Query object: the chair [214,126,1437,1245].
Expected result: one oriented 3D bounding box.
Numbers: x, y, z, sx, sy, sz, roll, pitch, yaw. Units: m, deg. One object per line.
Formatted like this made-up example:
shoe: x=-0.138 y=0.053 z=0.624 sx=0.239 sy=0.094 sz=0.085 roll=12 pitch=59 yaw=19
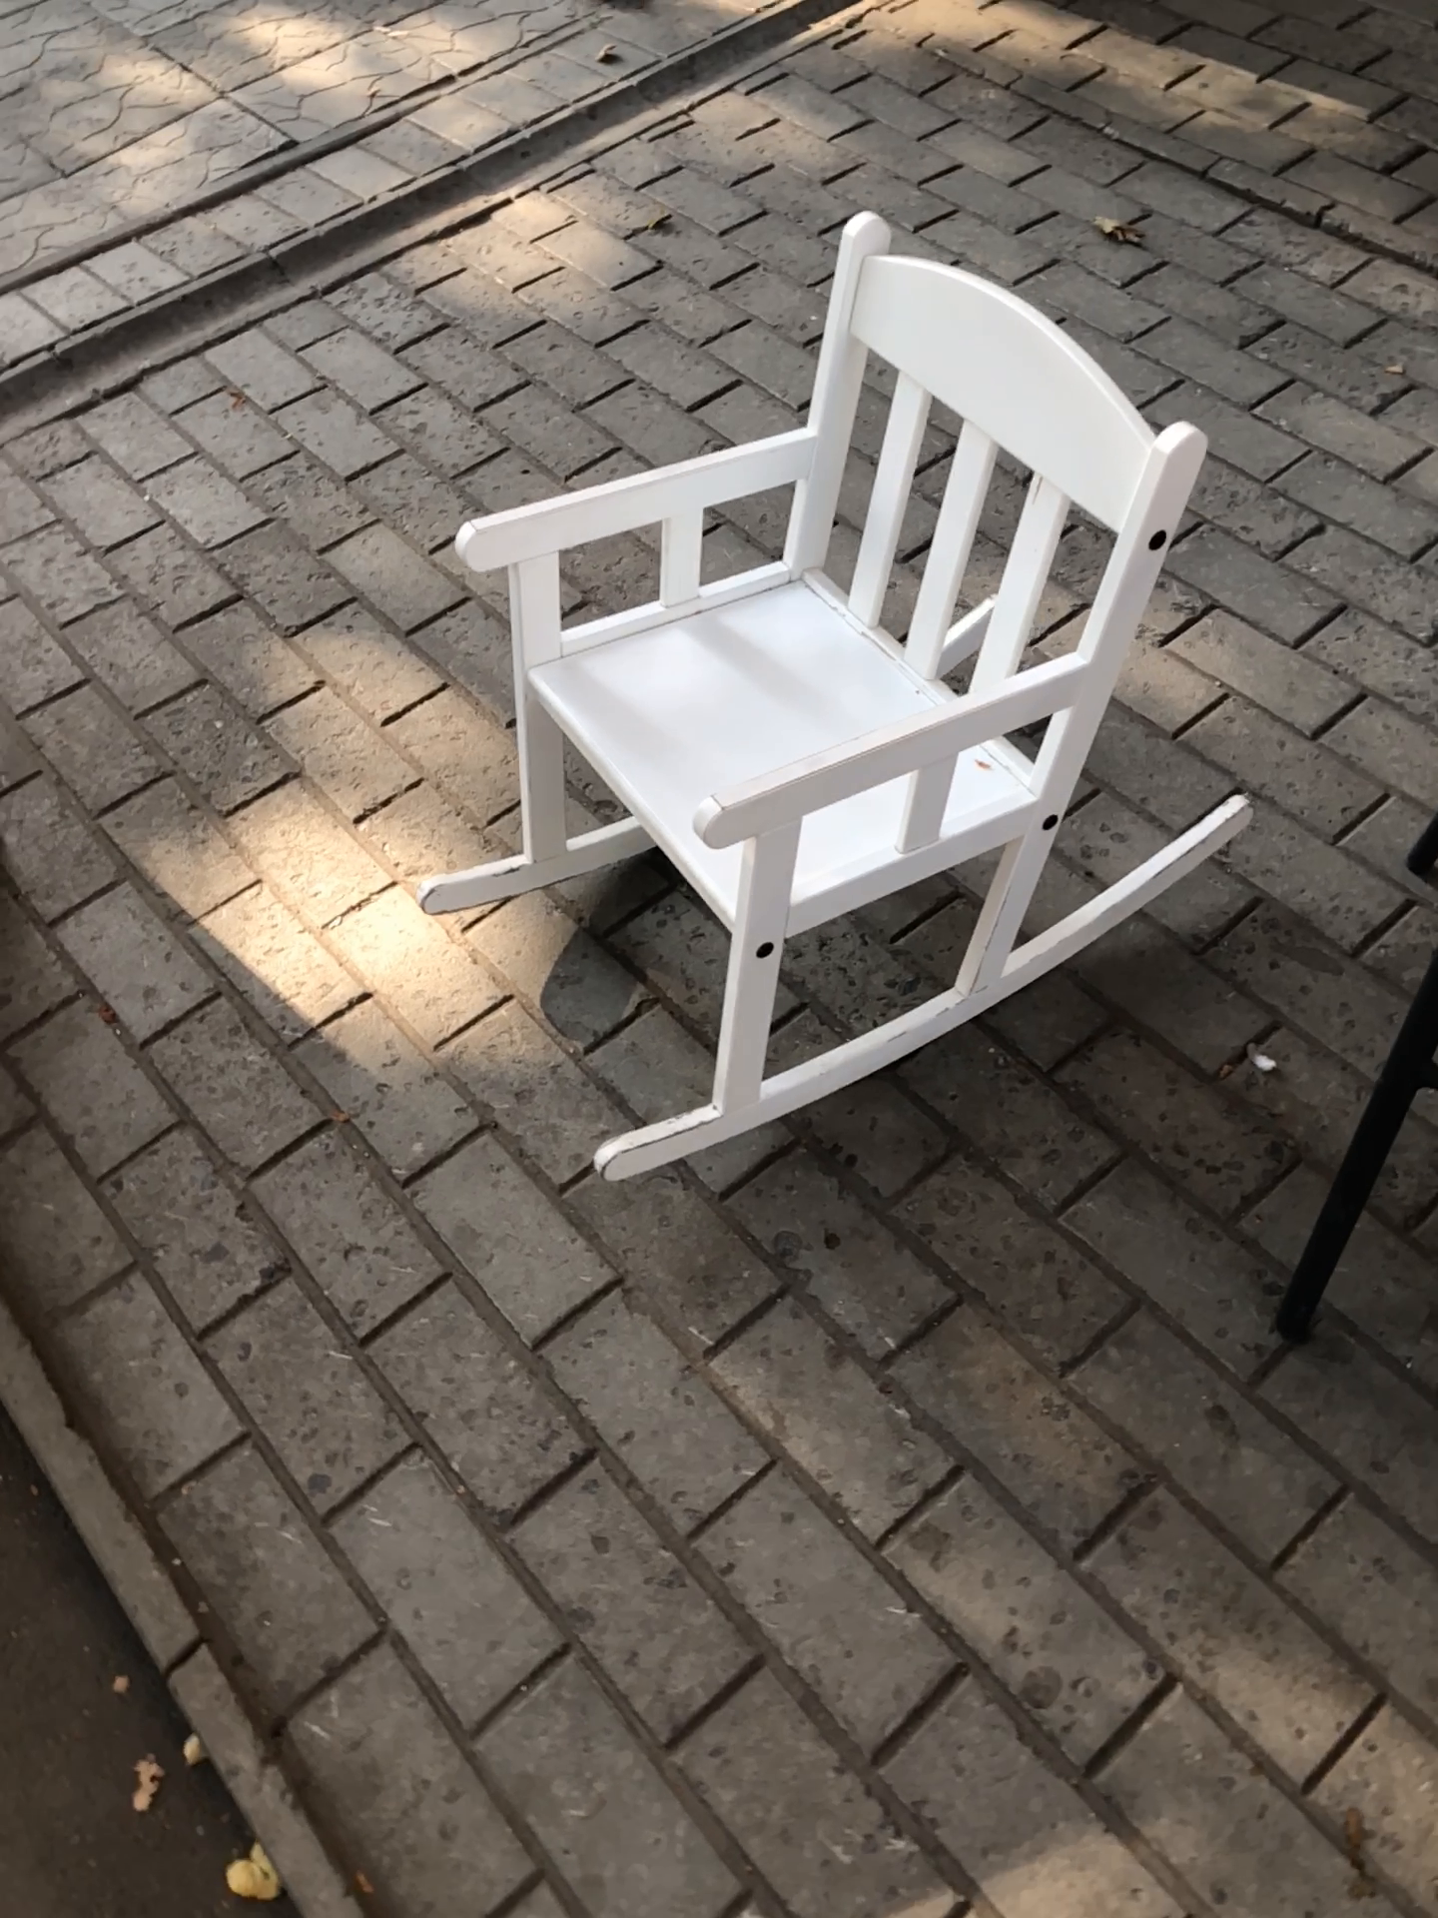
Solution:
chair: x=0.100 y=-0.238 z=1.253 sx=0.751 sy=0.459 sz=0.441 roll=-29 pitch=55 yaw=-18
